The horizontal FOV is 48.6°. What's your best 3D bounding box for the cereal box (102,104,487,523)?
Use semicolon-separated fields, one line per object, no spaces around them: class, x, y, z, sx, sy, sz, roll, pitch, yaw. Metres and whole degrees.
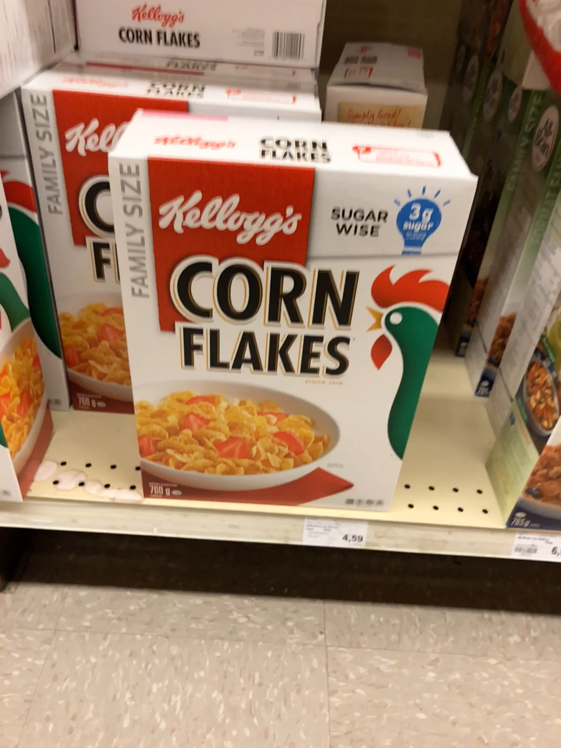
cereal box;-0.002;-0.029;0.590;0.270;0.387;0.101;2;37;-3
